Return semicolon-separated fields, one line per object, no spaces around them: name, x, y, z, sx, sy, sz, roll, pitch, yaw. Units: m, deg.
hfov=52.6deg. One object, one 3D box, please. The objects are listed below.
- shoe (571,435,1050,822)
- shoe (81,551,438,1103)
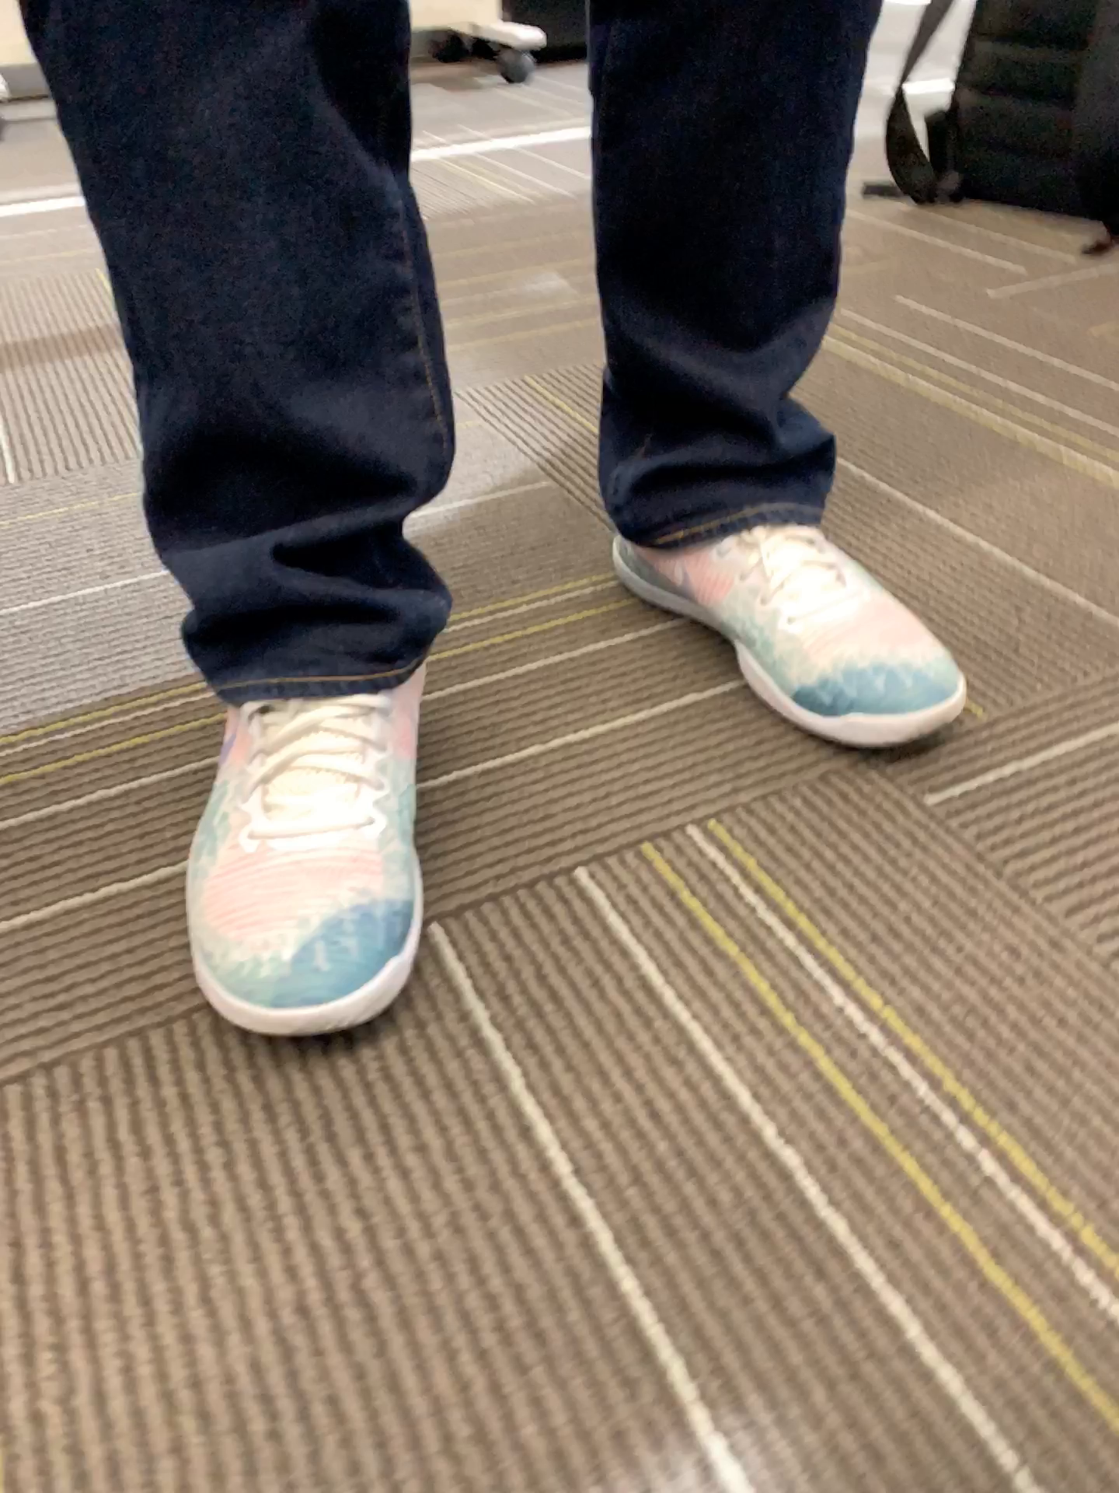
shoe;0.132;-0.089;0.687;0.122;0.078;0.291;-20;41;-20
shoe;-0.122;0.017;0.543;0.117;0.088;0.285;-5;38;-3
